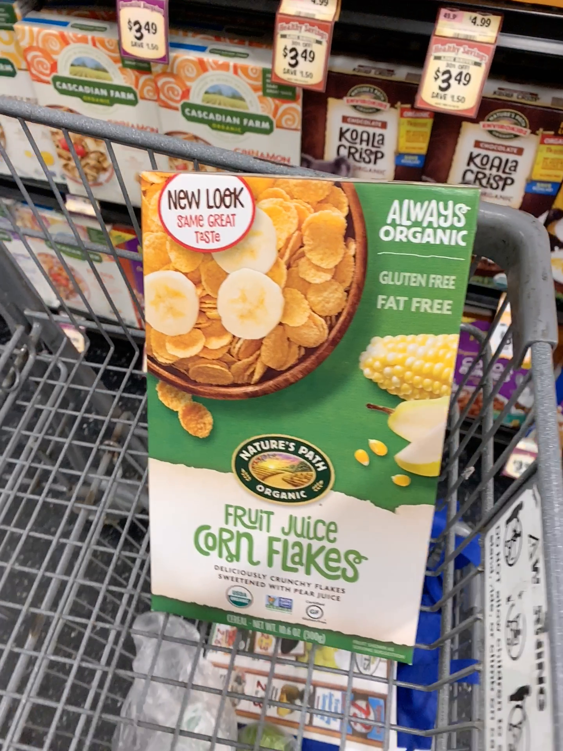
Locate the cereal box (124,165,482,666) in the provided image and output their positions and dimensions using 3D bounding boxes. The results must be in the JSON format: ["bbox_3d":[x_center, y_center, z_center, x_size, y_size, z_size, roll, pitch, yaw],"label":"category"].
[{"bbox_3d":[0.006,0.021,0.321,0.160,0.250,0.060,7,19,12],"label":"cereal box"}]
